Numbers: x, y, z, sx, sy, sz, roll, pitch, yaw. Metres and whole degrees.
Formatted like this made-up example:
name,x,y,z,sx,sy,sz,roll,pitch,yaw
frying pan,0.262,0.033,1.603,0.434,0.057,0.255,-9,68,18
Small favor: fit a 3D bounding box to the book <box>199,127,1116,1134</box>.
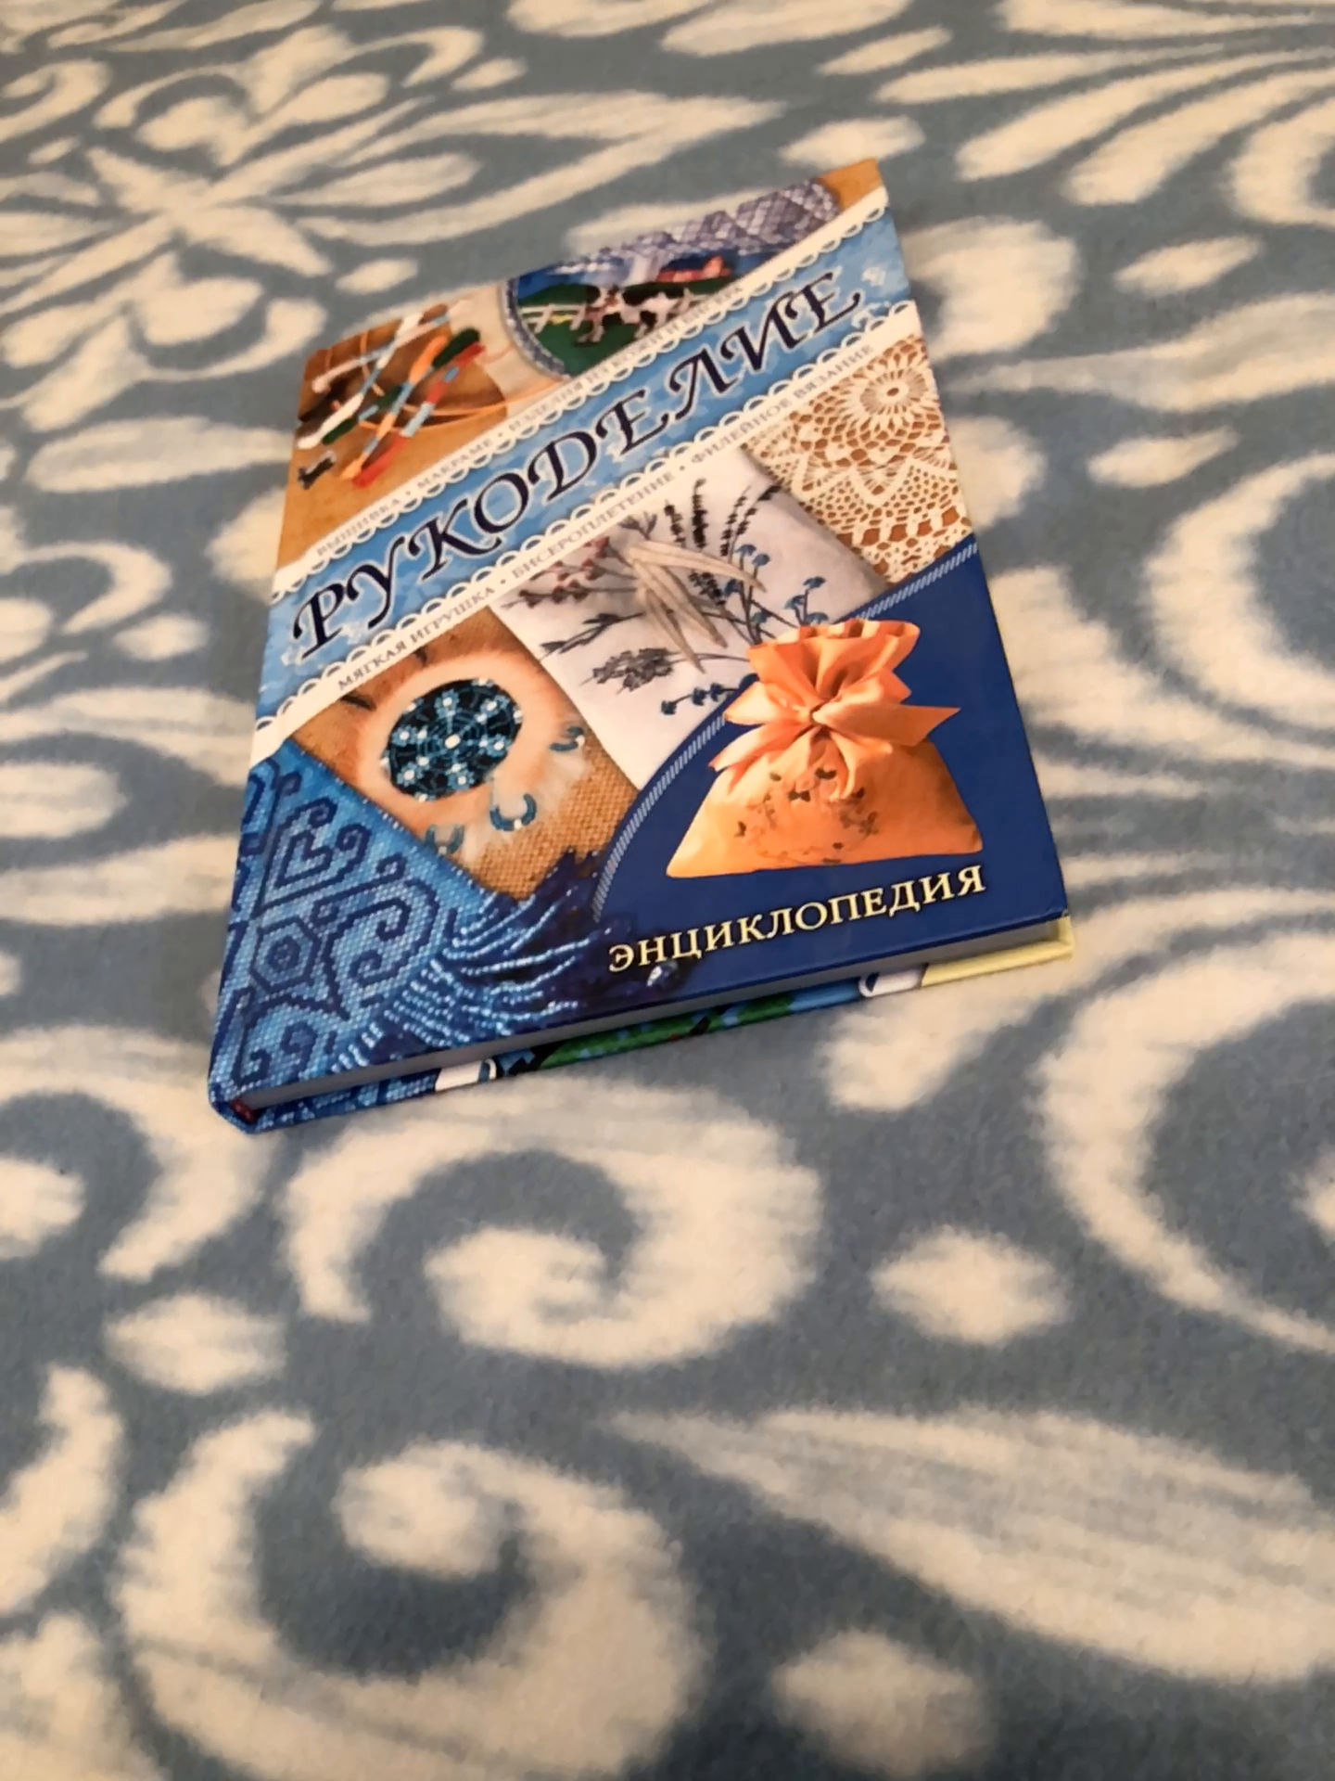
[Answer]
name,x,y,z,sx,sy,sz,roll,pitch,yaw
book,-0.013,-0.073,0.337,0.168,0.020,0.238,-14,54,13
